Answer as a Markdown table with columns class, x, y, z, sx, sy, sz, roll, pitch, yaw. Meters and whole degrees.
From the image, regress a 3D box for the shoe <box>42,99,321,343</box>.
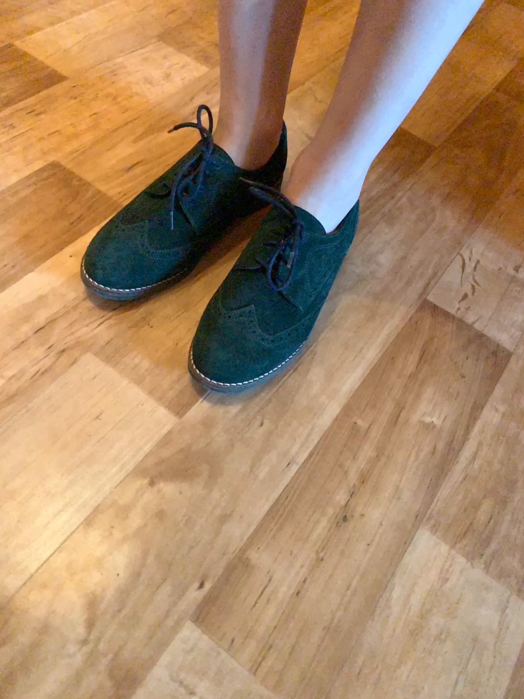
| class | x | y | z | sx | sy | sz | roll | pitch | yaw |
| --- | --- | --- | --- | --- | --- | --- | --- | --- | --- |
| shoe | -0.064 | -0.131 | 0.508 | 0.090 | 0.080 | 0.261 | 38 | 58 | 13 |

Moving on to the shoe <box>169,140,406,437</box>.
| class | x | y | z | sx | sy | sz | roll | pitch | yaw |
| --- | --- | --- | --- | --- | --- | --- | --- | --- | --- |
| shoe | 0.029 | -0.065 | 0.466 | 0.100 | 0.080 | 0.251 | 27 | 56 | 6 |
